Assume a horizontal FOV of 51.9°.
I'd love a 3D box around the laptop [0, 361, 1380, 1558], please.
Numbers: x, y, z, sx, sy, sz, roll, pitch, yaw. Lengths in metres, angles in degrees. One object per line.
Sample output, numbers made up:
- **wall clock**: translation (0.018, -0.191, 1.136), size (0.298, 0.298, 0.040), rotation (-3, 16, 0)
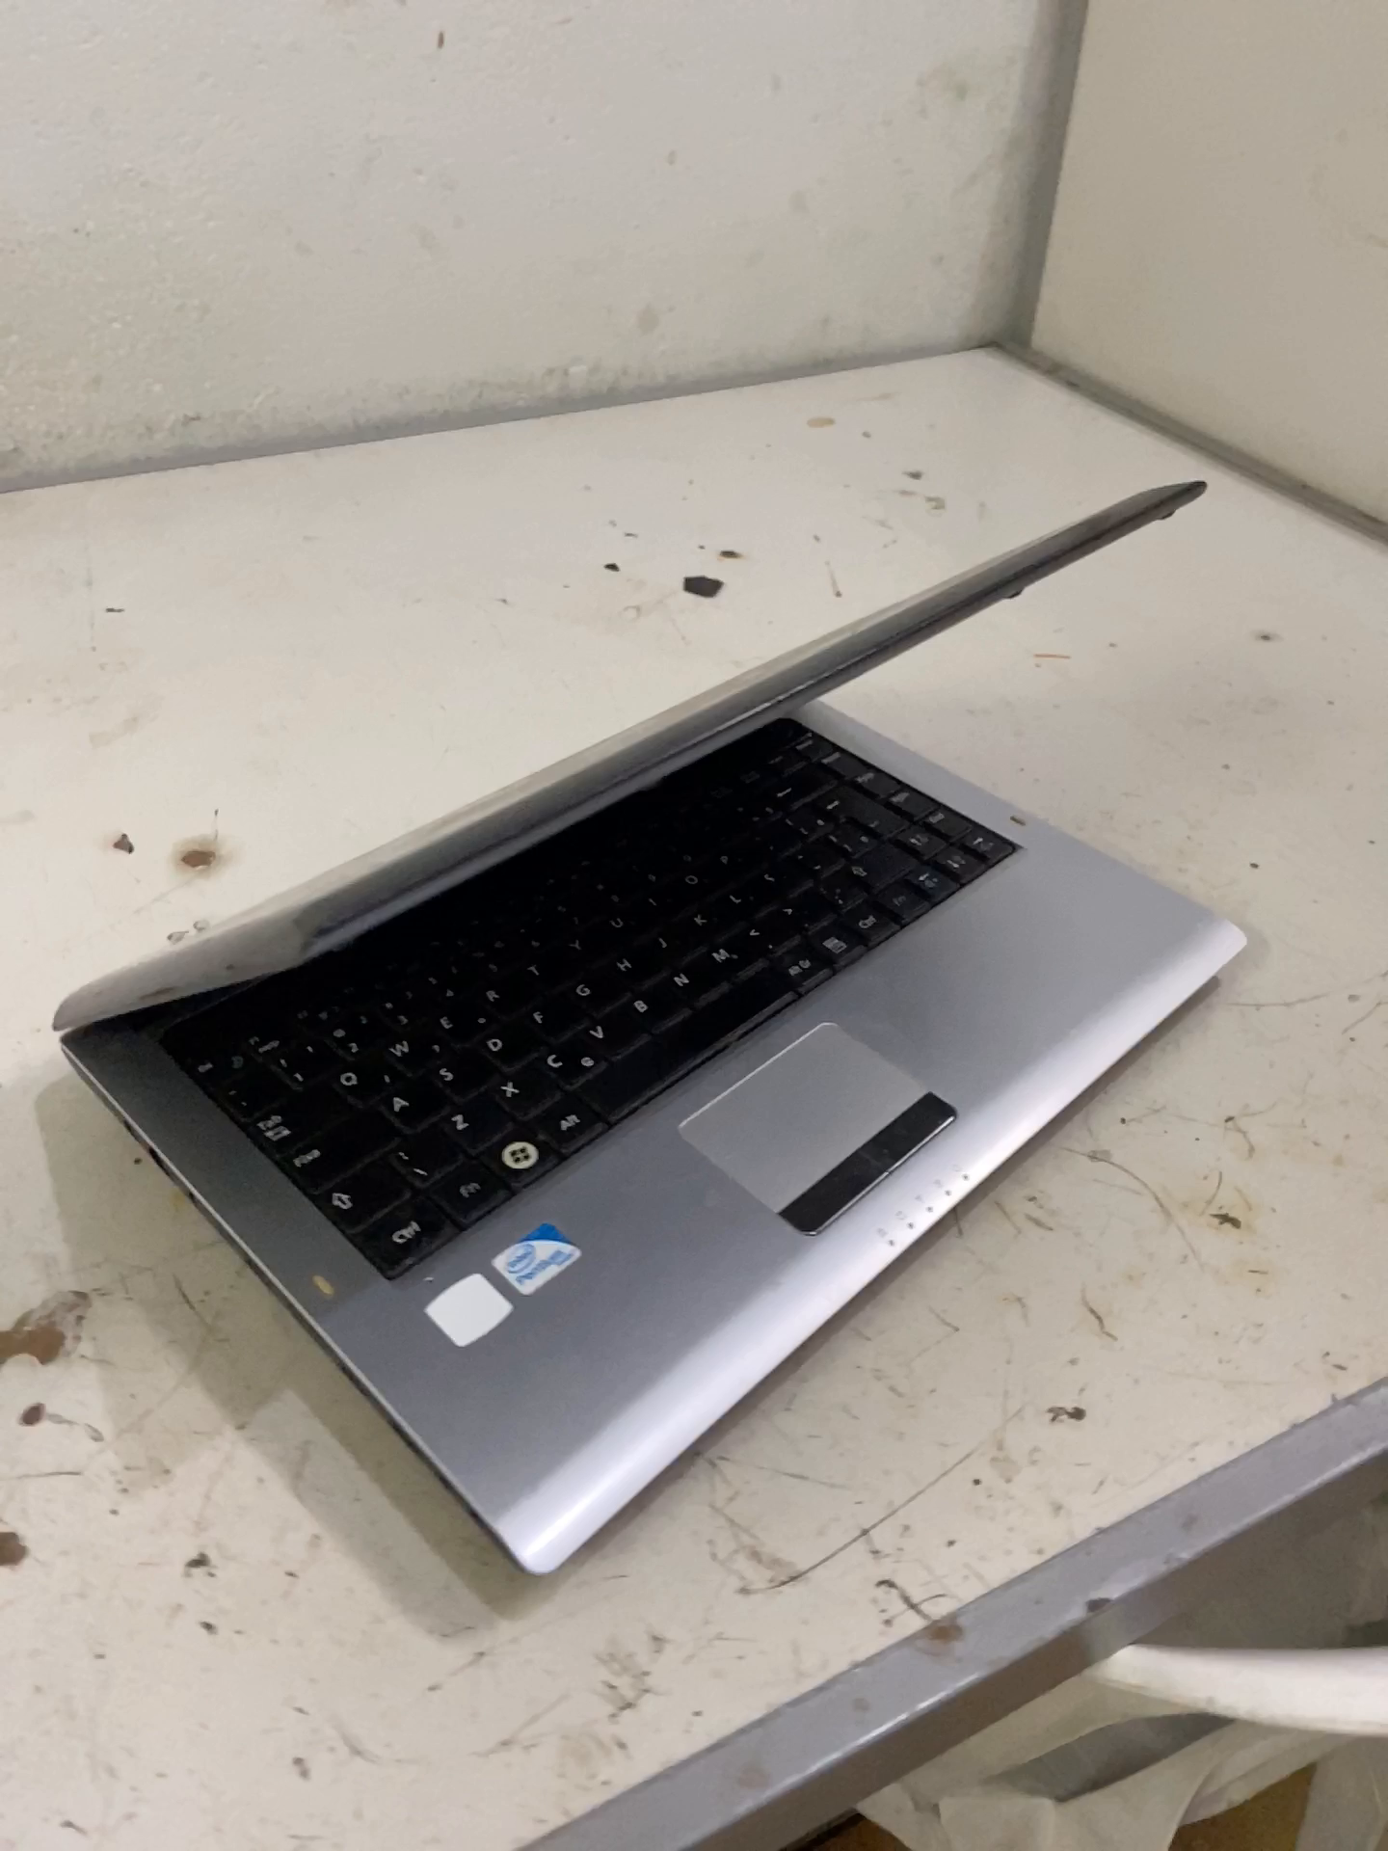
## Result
- **laptop**: translation (0.004, -0.037, 0.450), size (0.335, 0.152, 0.241), rotation (-30, 49, -35)
